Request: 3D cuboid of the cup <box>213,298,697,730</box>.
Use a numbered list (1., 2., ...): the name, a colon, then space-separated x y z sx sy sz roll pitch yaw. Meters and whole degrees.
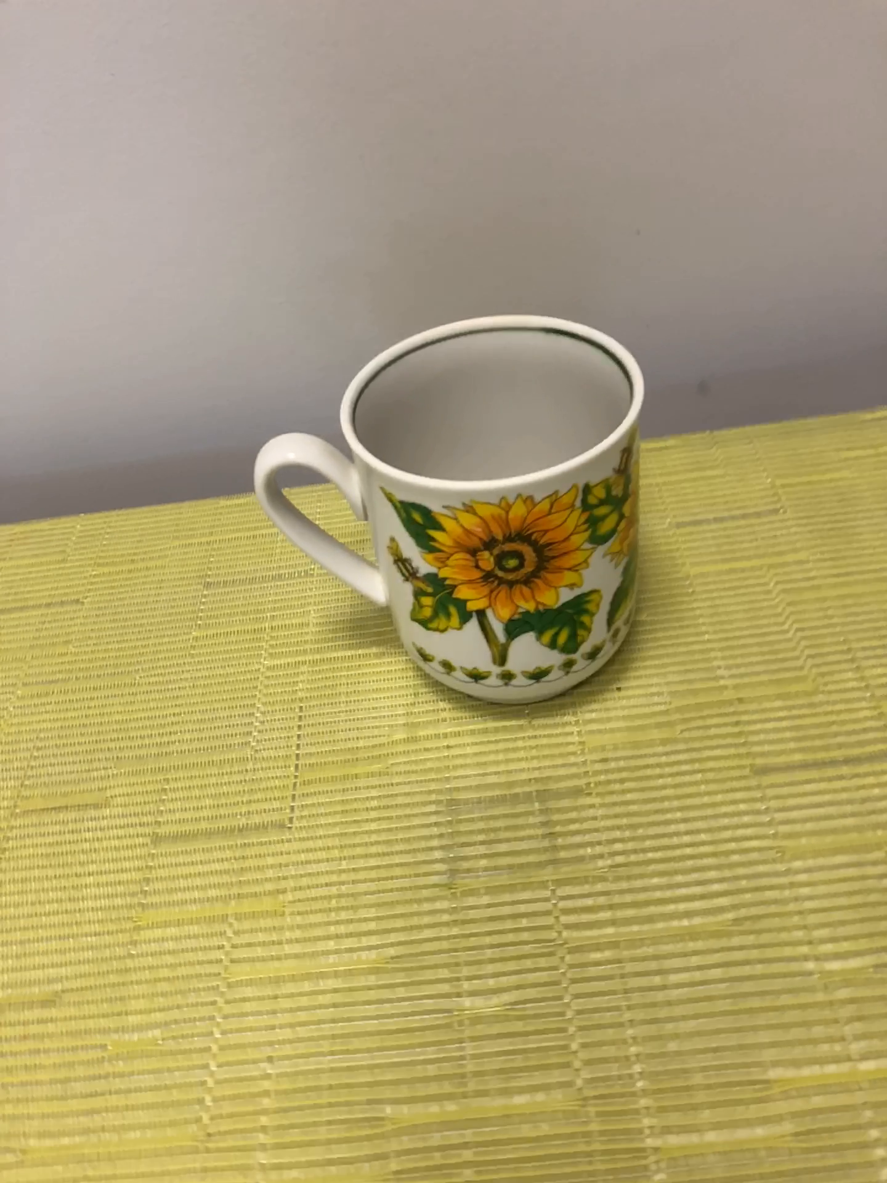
1. cup: 0.008 -0.023 0.295 0.116 0.084 0.088 -4 41 6
